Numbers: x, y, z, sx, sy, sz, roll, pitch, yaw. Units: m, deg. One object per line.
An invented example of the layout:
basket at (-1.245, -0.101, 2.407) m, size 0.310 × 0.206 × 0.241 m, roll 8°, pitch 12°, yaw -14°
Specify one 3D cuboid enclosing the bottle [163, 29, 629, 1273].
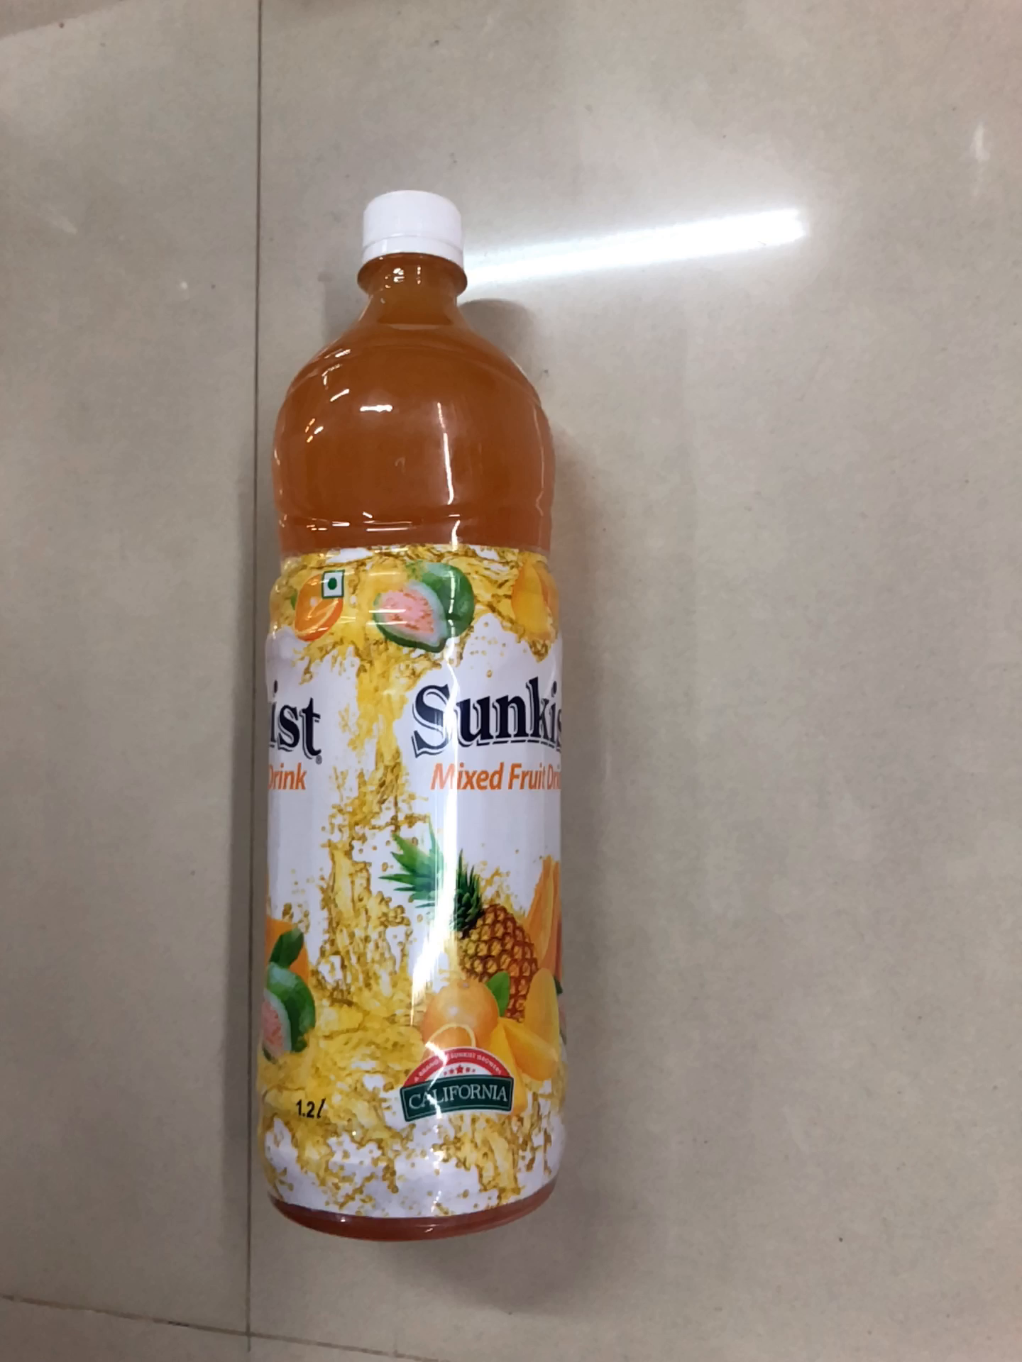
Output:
bottle at (-0.025, -0.010, 0.316) m, size 0.100 × 0.080 × 0.290 m, roll -1°, pitch 85°, yaw 17°
